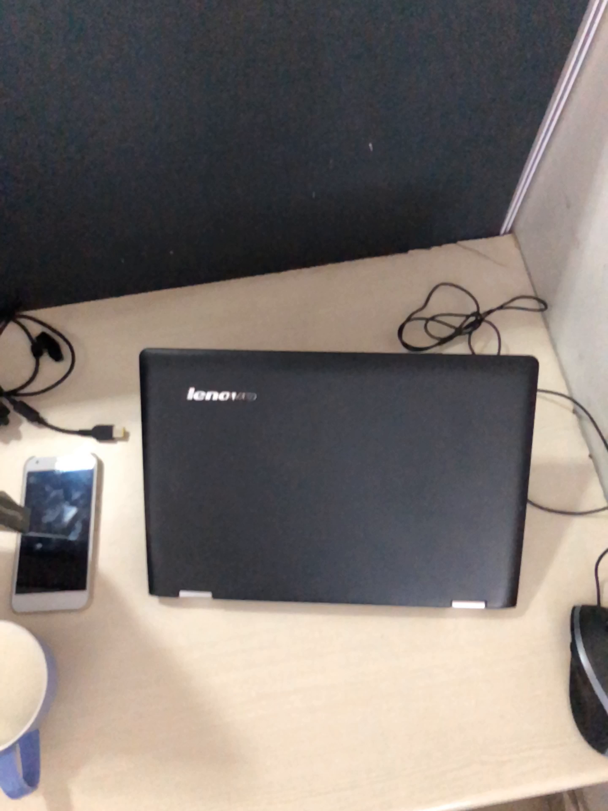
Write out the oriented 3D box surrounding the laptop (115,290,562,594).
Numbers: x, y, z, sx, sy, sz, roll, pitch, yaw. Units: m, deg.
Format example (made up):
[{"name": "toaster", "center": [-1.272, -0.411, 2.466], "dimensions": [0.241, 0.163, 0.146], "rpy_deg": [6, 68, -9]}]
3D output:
[{"name": "laptop", "center": [0.027, 0.040, 0.577], "dimensions": [0.323, 0.143, 0.204], "rpy_deg": [1, 74, 2]}]
